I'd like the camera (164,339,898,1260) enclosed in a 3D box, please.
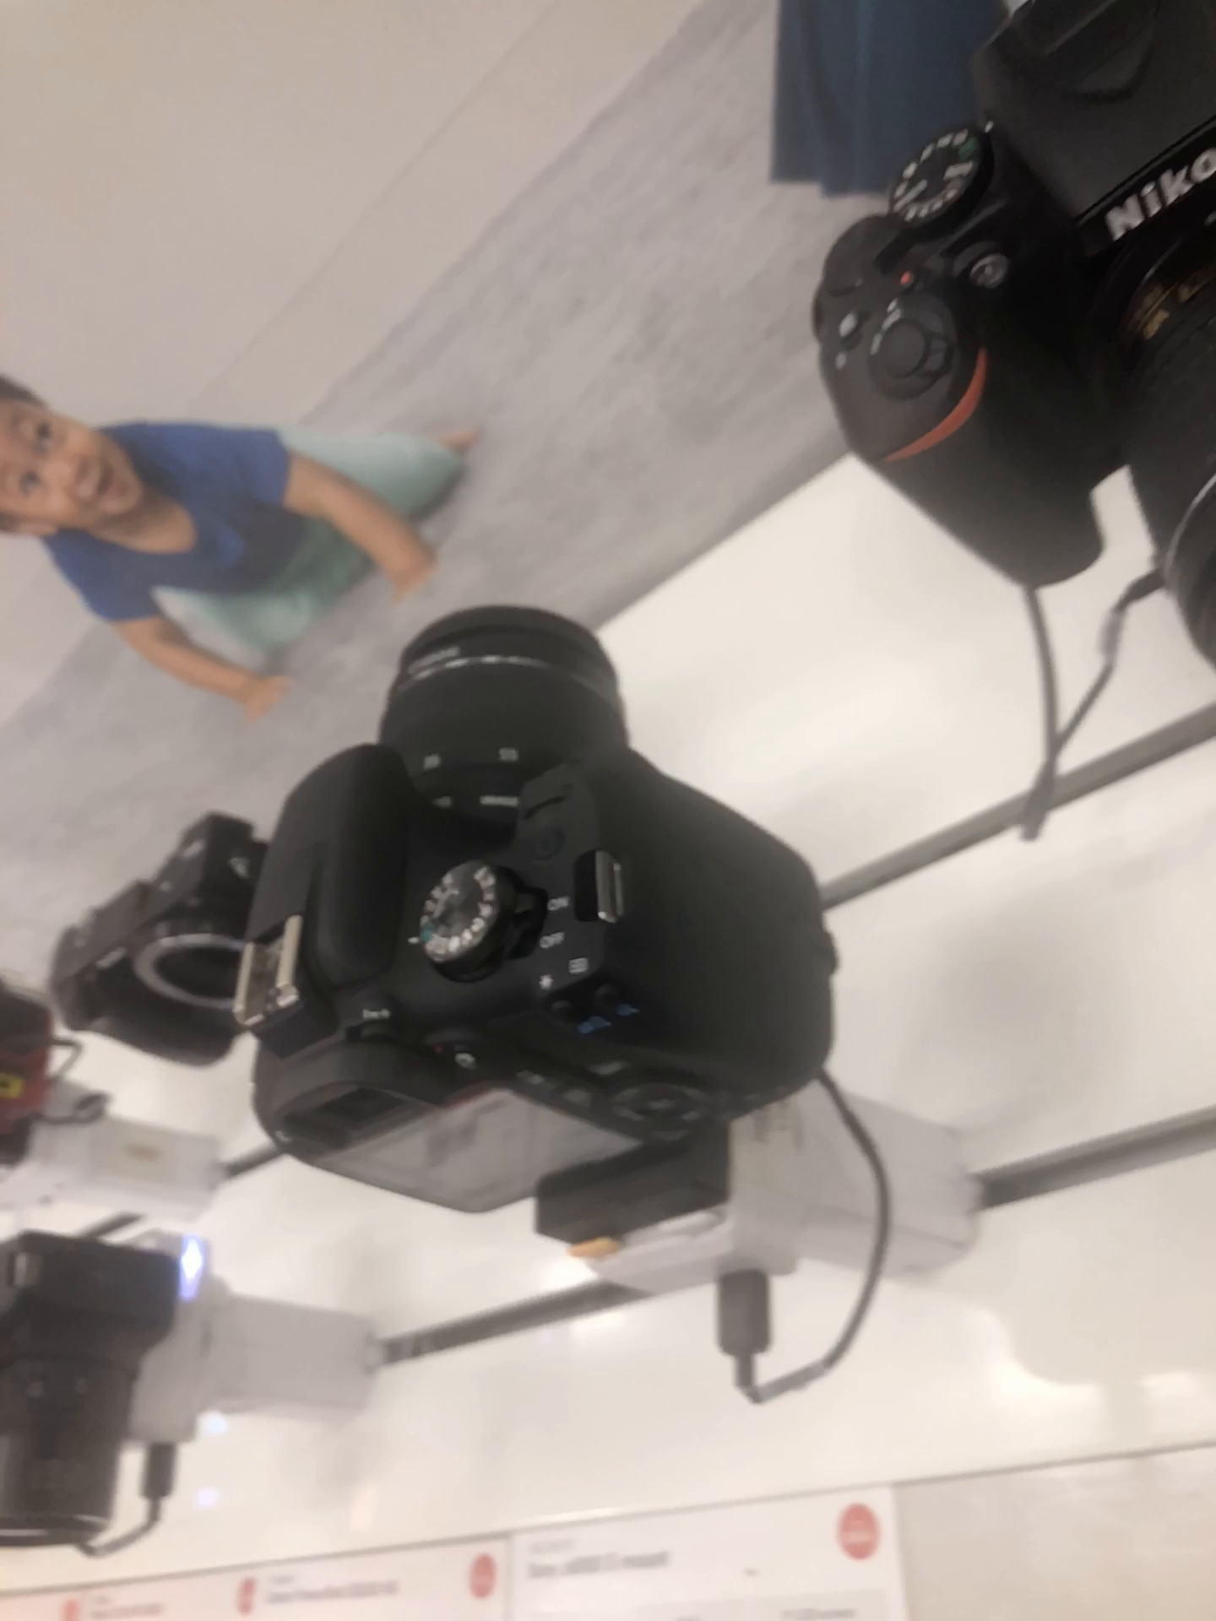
[{"bbox_3d":[-0.024,0.006,0.341,0.141,0.089,0.170,-29,50,37],"label":"camera"}]
